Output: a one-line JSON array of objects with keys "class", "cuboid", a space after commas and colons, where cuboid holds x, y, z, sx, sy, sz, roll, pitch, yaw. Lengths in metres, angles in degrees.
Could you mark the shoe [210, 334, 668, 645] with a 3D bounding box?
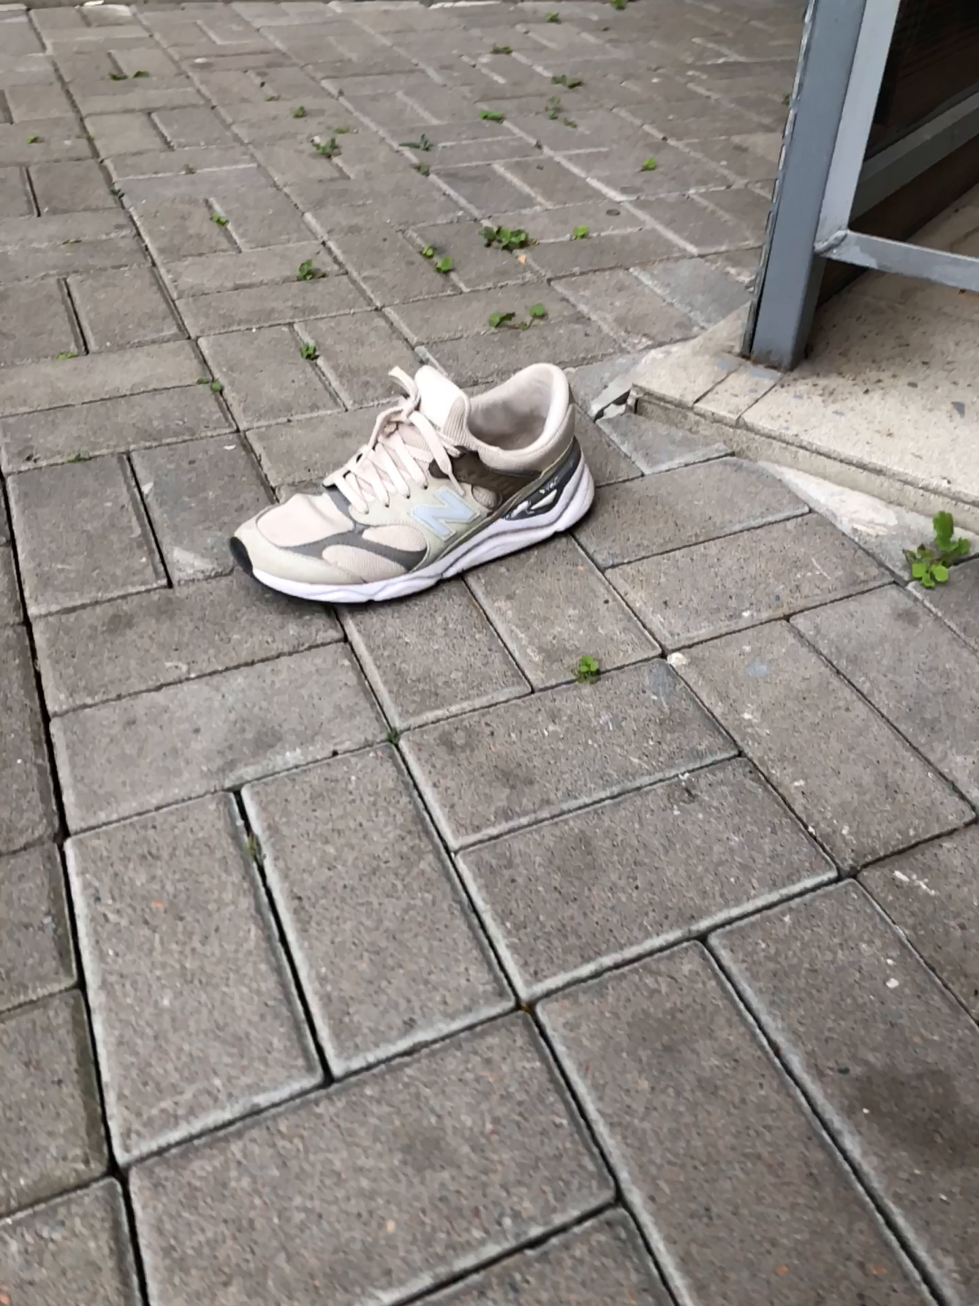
[{"class": "shoe", "cuboid": [-0.032, -0.129, 0.784, 0.301, 0.109, 0.121, -21, 45, -24]}]
